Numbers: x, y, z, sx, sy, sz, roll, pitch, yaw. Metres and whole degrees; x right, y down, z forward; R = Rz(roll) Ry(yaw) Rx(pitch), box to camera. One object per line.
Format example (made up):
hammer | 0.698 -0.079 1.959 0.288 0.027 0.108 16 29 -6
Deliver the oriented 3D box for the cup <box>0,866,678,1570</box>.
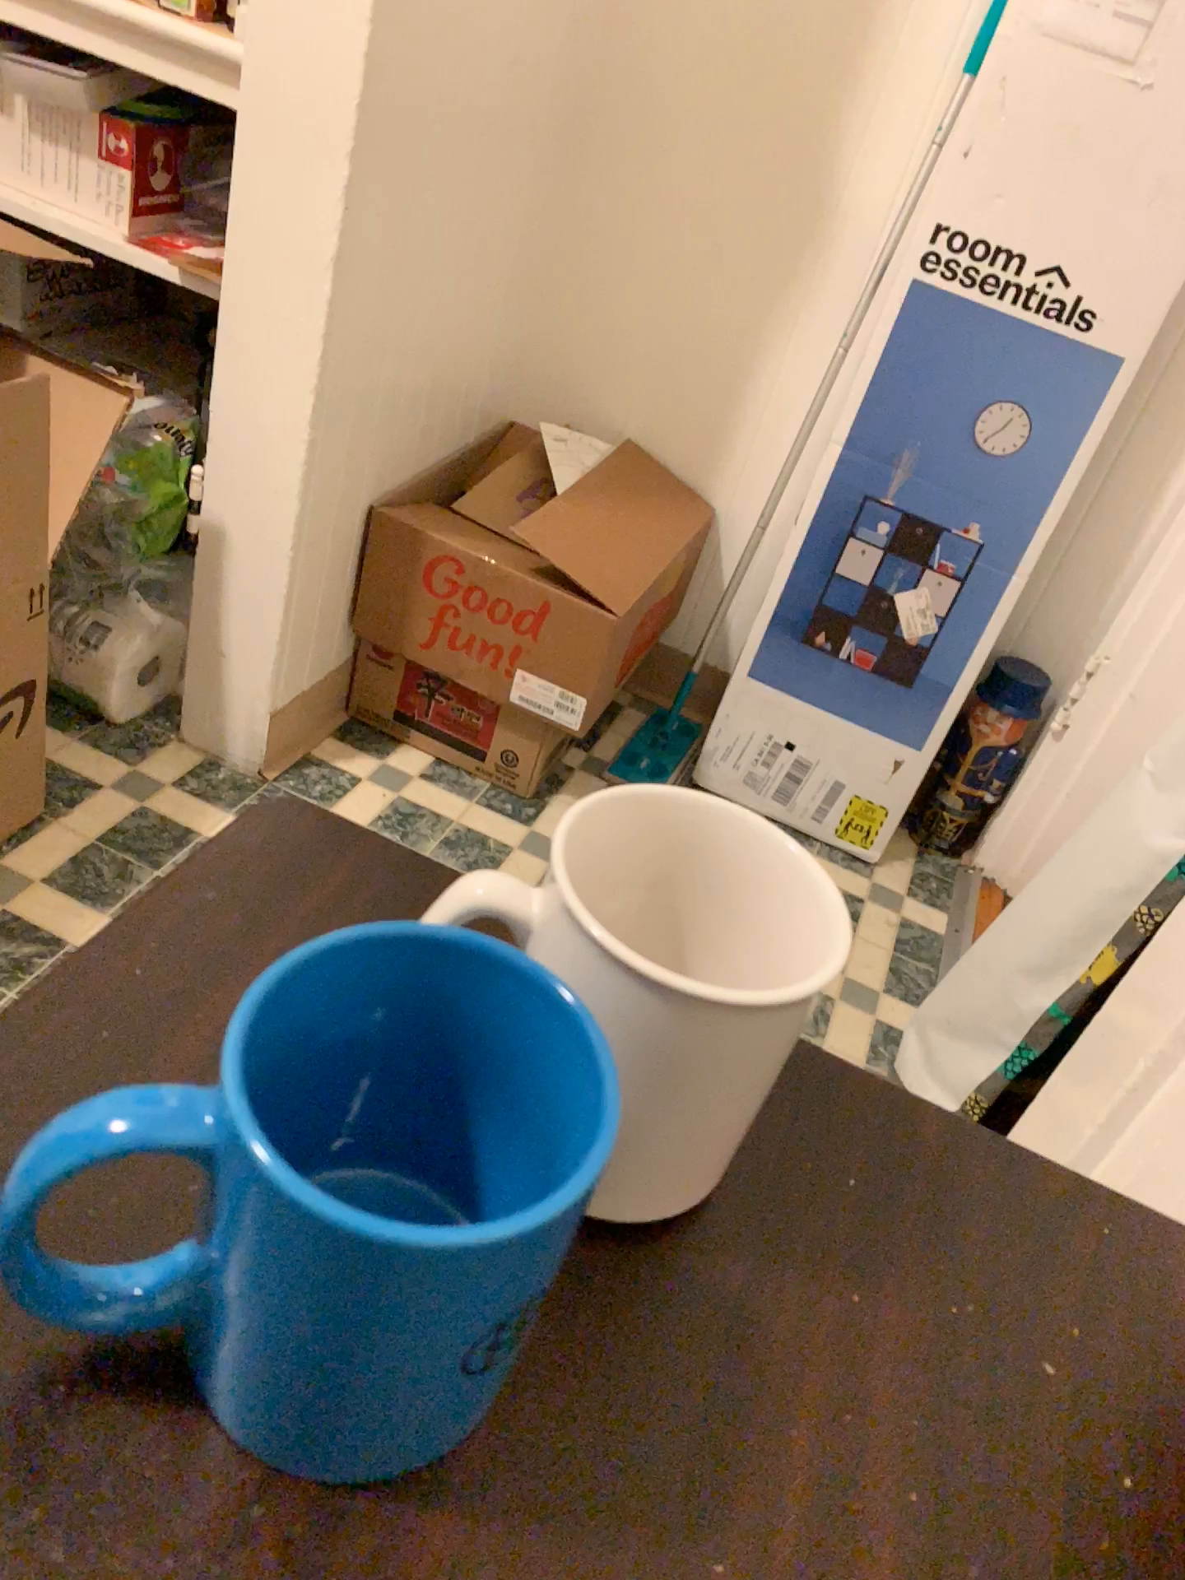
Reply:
cup | -0.073 0.089 0.260 0.140 0.099 0.090 6 37 -18

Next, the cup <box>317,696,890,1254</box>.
cup | 0.001 0.050 0.332 0.120 0.089 0.091 14 35 -7
